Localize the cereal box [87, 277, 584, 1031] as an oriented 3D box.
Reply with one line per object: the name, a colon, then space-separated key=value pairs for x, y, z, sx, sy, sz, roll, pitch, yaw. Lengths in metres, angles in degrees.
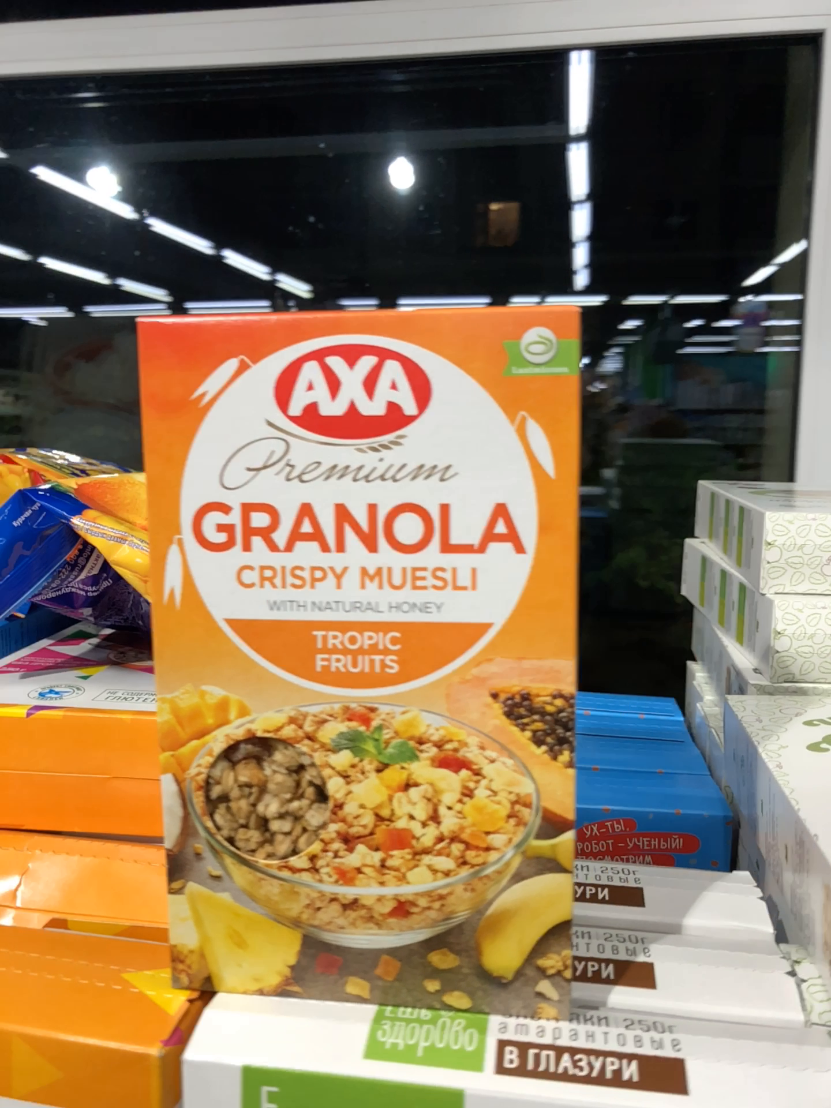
cereal box: x=-0.022 y=0.029 z=0.293 sx=0.140 sy=0.220 sz=0.050 roll=1 pitch=8 yaw=7
